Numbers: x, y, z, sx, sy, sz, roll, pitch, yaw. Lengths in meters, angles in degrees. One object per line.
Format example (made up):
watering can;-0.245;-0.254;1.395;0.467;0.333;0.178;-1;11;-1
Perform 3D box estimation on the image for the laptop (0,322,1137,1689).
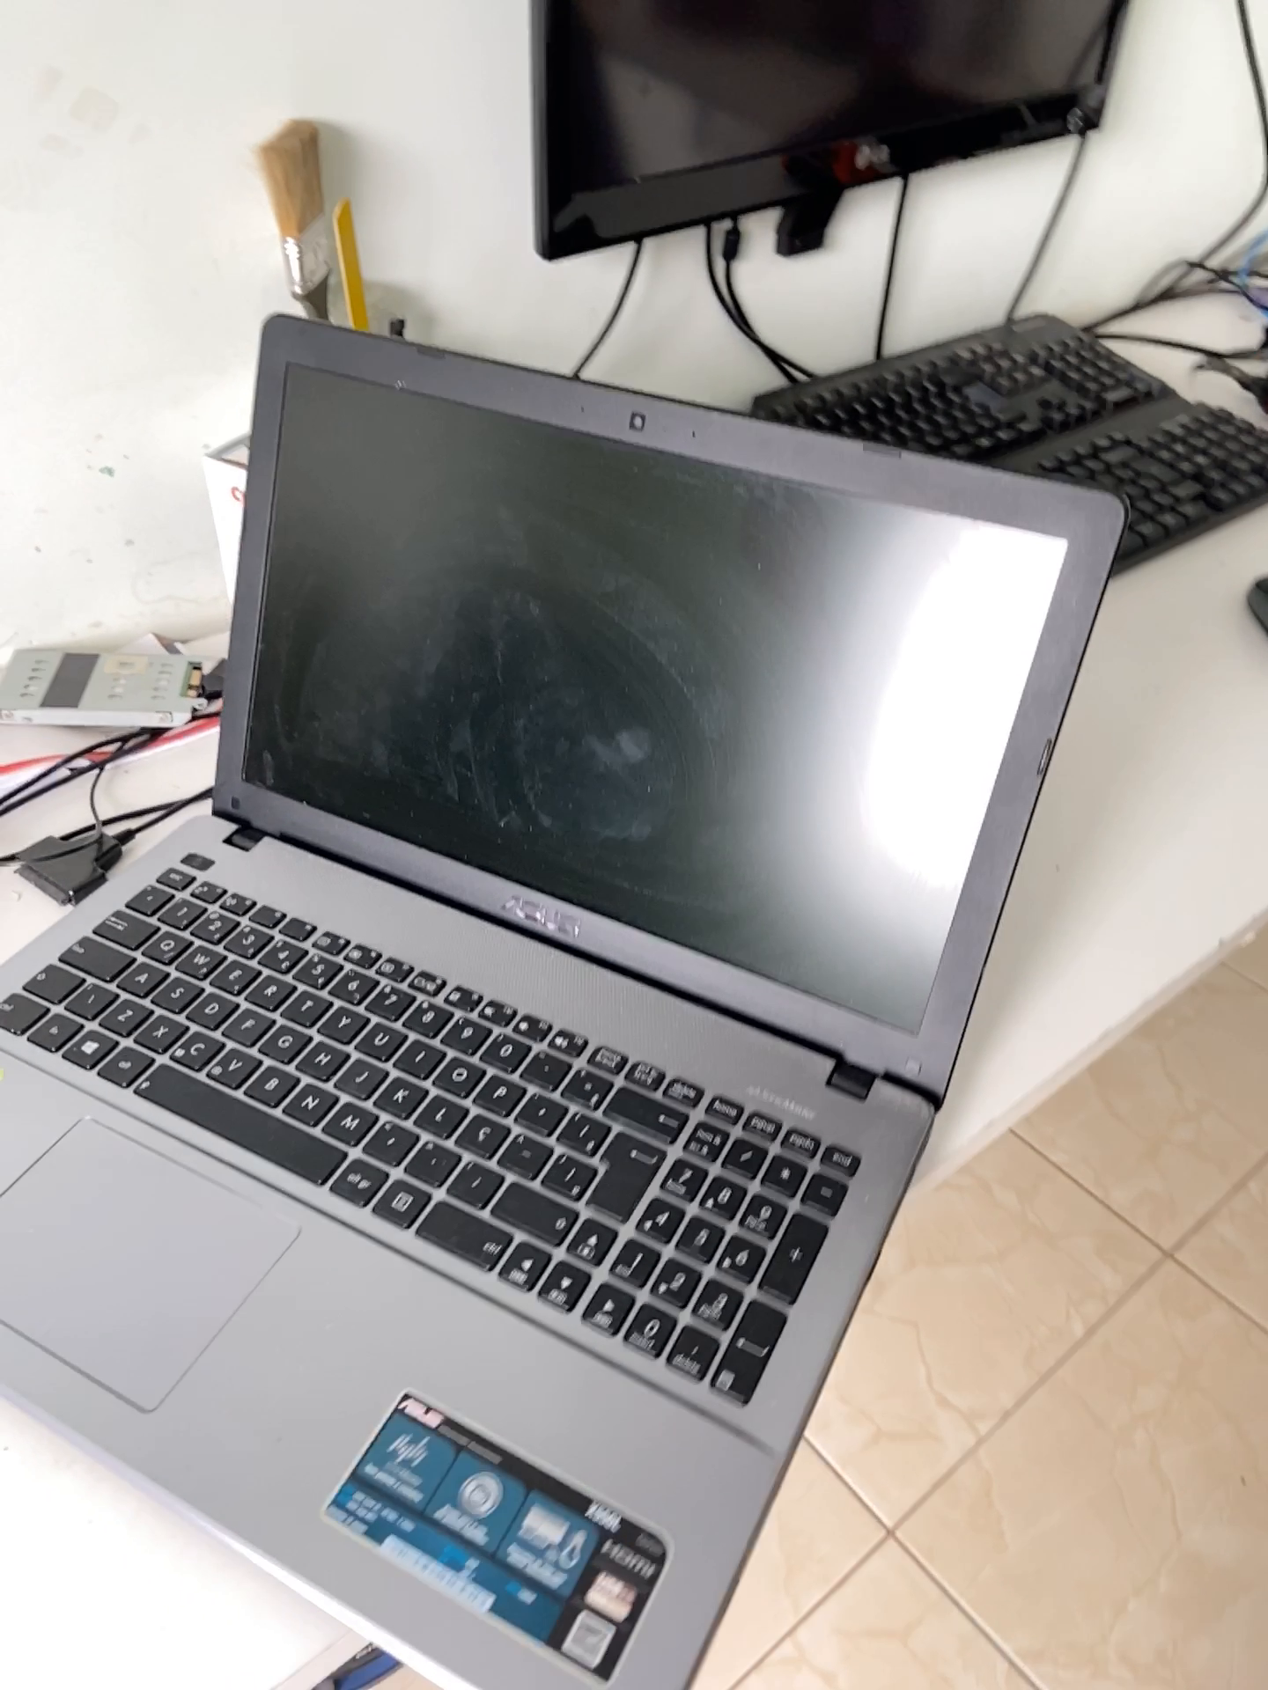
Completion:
laptop;-0.079;0.006;0.461;0.376;0.213;0.357;19;43;21
